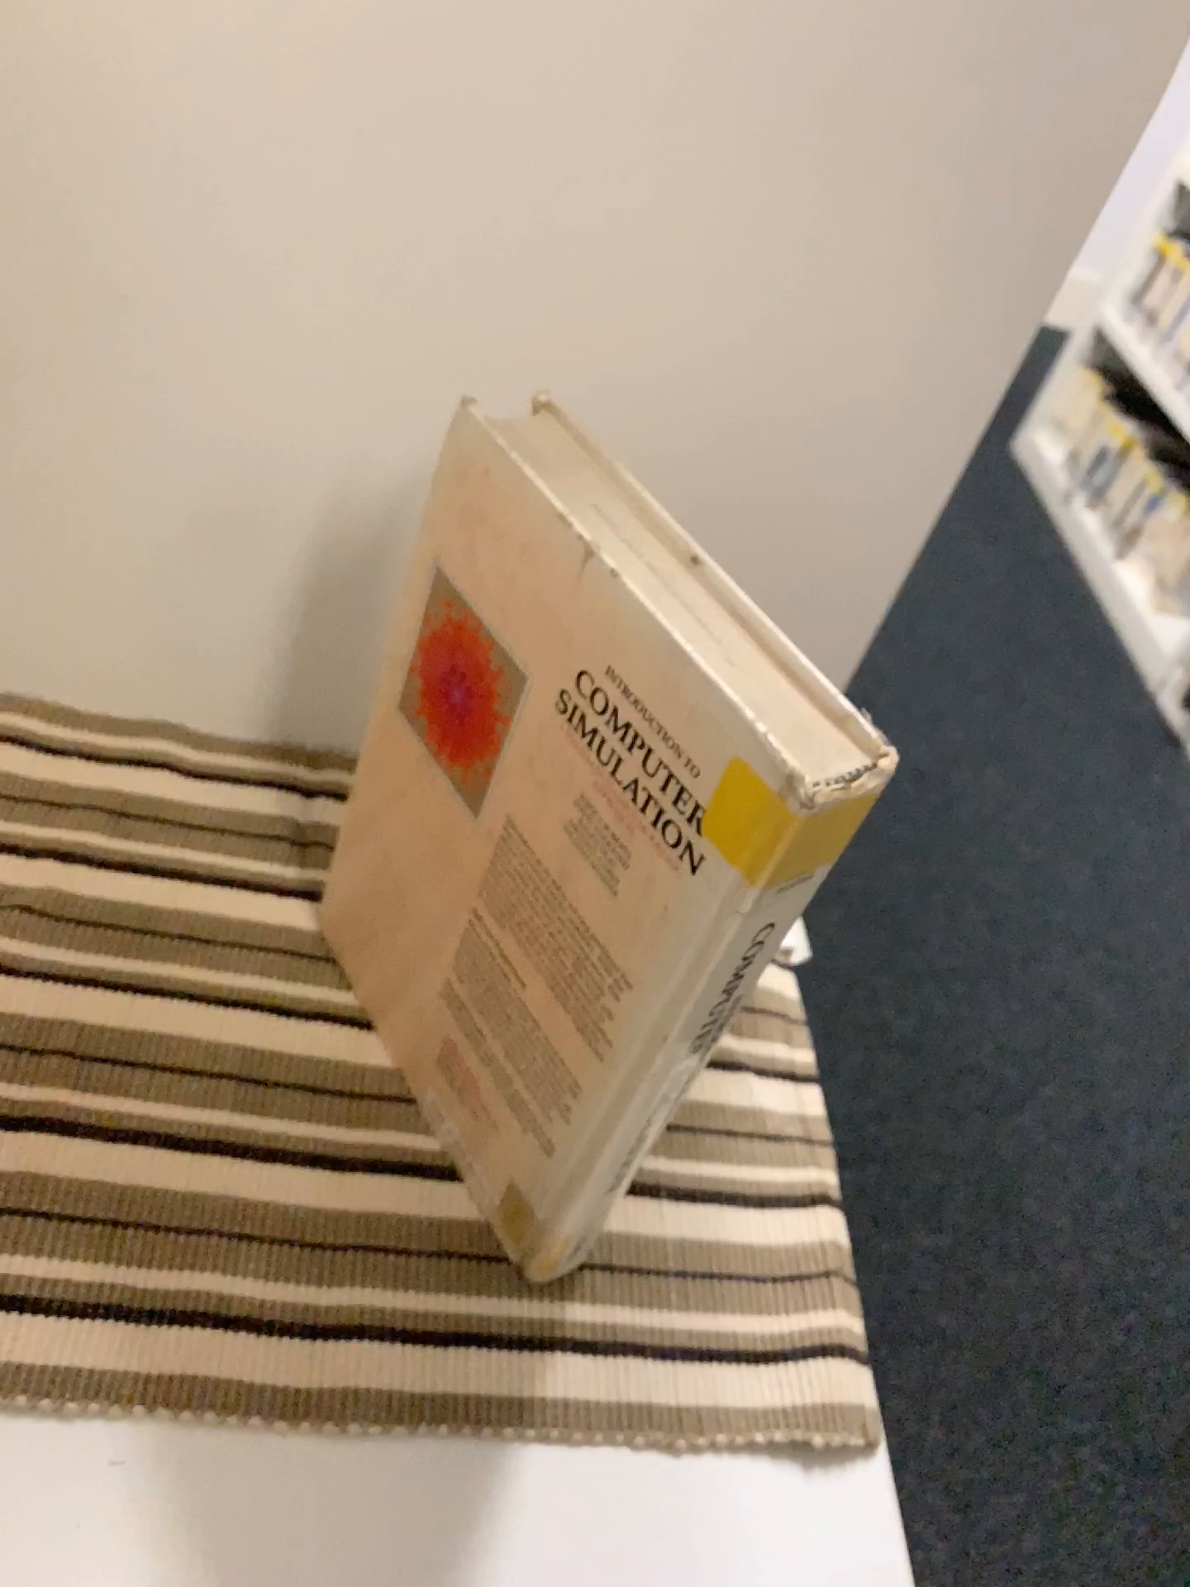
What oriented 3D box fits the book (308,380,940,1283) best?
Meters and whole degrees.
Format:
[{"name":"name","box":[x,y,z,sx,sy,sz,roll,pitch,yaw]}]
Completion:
[{"name":"book","box":[-0.017,0.020,0.400,0.040,0.238,0.171,-16,53,-38]}]
